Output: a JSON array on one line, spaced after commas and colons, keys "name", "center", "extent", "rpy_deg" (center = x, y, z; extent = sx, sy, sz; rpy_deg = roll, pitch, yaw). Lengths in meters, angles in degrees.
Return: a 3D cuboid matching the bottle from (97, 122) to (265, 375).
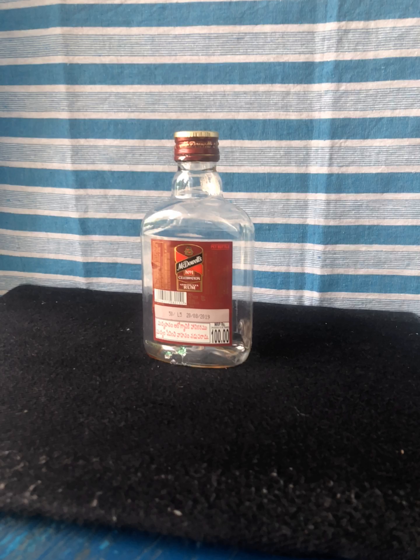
[{"name": "bottle", "center": [-0.015, -0.019, 0.262], "extent": [0.080, 0.129, 0.040], "rpy_deg": [5, 18, 10]}]
